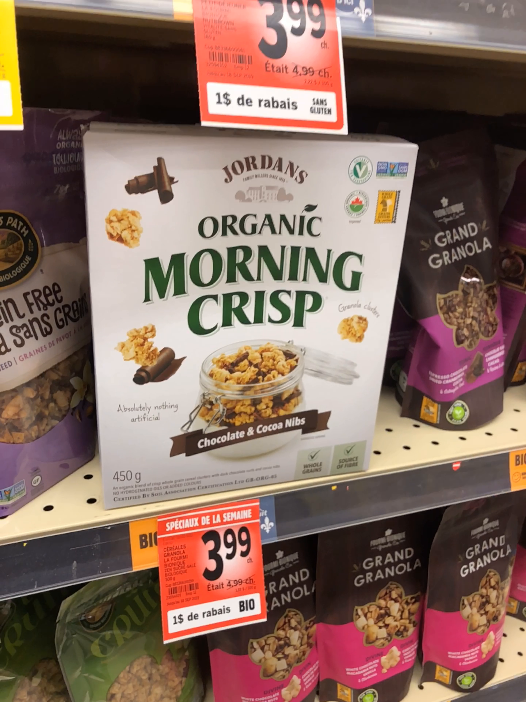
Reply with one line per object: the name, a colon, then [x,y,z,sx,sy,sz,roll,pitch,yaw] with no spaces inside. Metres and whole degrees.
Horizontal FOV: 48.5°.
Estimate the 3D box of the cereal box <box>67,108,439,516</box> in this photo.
cereal box: [-0.009,-0.021,0.334,0.180,0.209,0.050,-4,24,-18]
